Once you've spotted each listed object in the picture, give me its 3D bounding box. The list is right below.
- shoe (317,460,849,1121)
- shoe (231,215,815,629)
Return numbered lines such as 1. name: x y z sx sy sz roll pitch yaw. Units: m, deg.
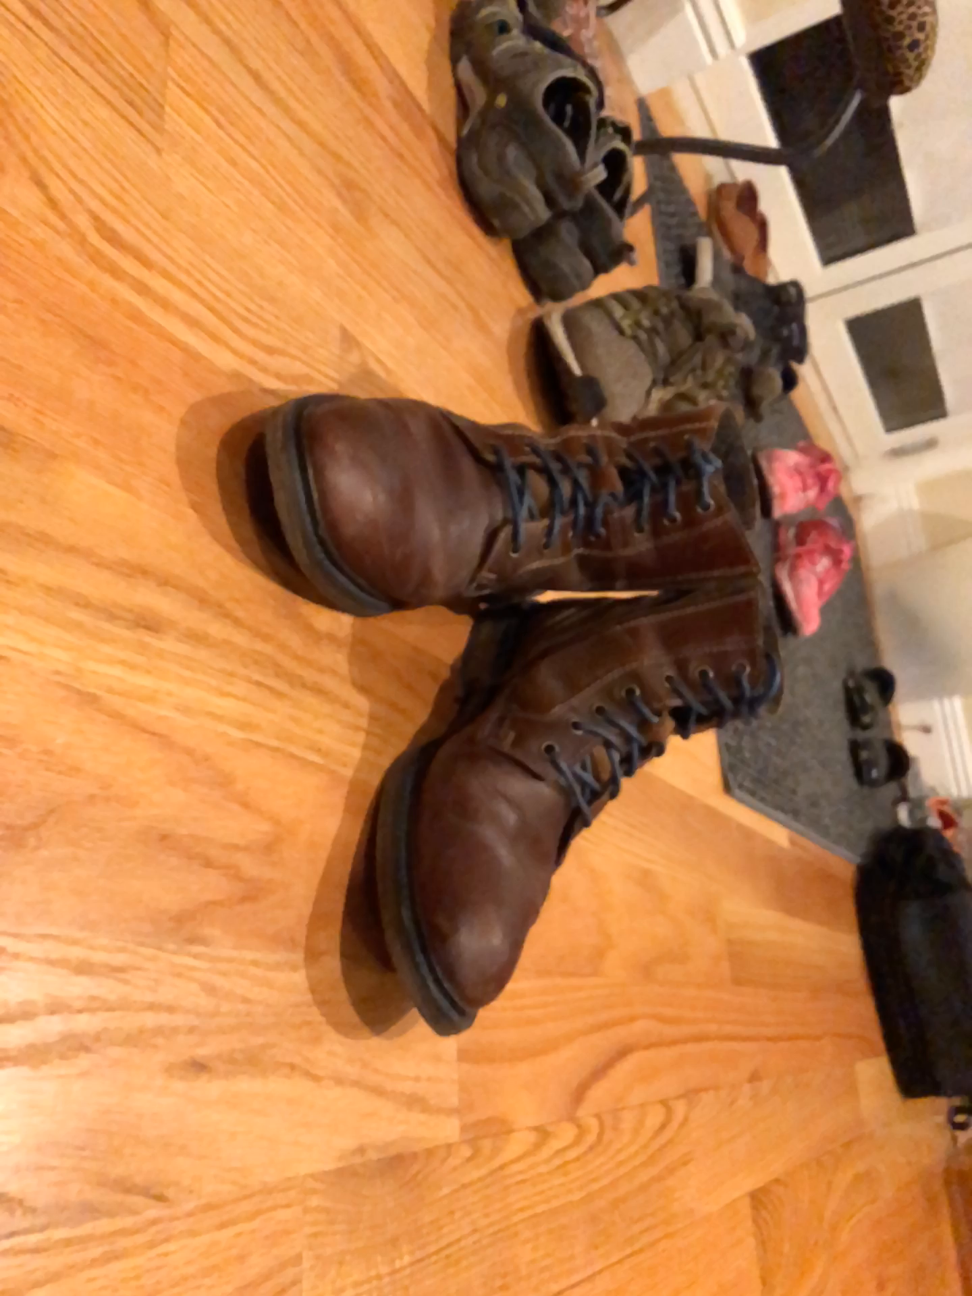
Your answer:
1. shoe: 0.072 0.057 0.544 0.128 0.176 0.305 62 29 -29
2. shoe: 0.046 -0.084 0.553 0.311 0.168 0.113 -3 81 -64
